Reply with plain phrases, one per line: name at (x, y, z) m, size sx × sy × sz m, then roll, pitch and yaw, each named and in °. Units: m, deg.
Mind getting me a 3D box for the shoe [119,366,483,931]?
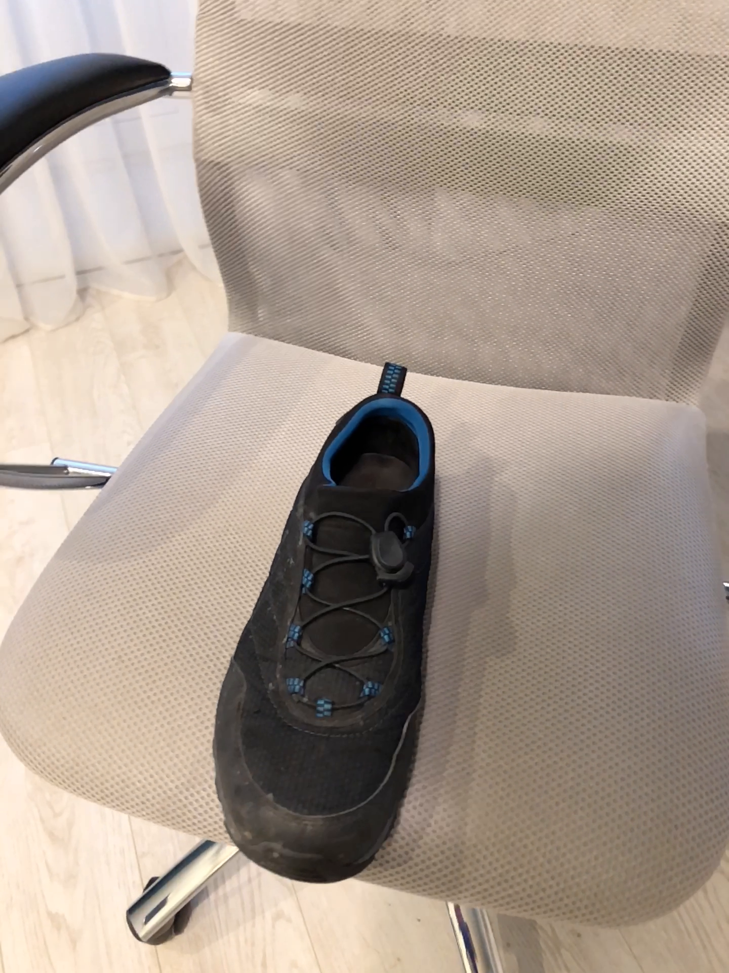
shoe at (-0.012, 0.071, 0.475) m, size 0.128 × 0.109 × 0.302 m, roll 7°, pitch 47°, yaw 8°
